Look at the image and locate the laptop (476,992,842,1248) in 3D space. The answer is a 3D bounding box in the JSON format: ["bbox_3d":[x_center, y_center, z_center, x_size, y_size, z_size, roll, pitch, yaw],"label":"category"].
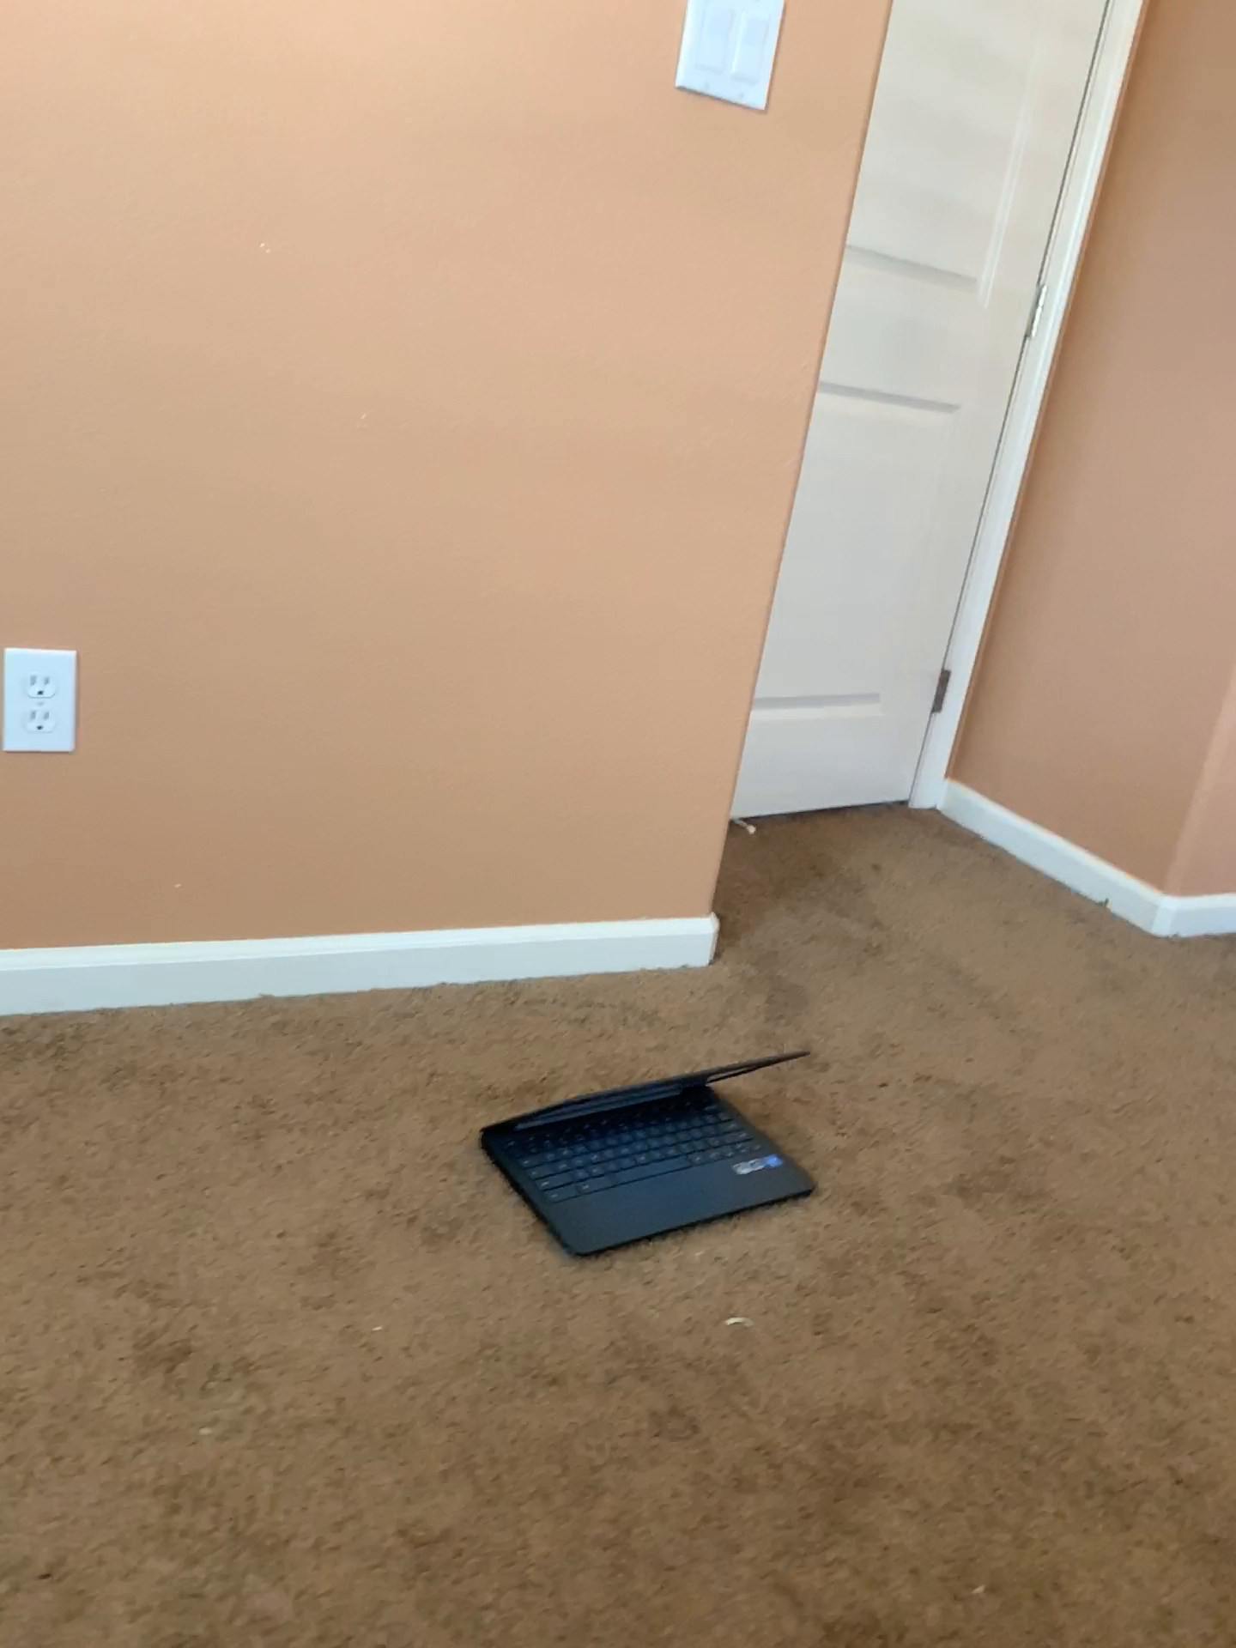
[{"bbox_3d":[0.039,0.285,1.277,0.289,0.127,0.195,-3,21,-33],"label":"laptop"}]
